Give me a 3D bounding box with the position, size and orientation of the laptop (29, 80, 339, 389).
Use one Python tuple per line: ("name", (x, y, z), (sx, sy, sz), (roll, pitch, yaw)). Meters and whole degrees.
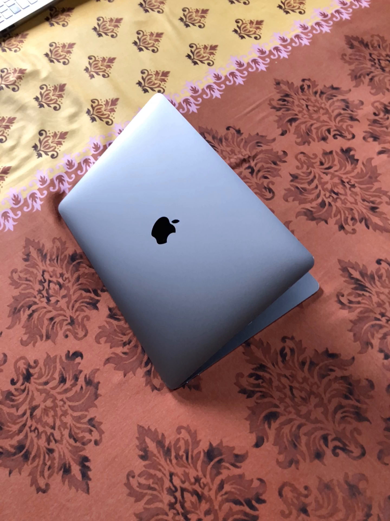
("laptop", (-0.023, -0.041, 0.492), (0.204, 0.093, 0.286), (-33, 65, -8))
